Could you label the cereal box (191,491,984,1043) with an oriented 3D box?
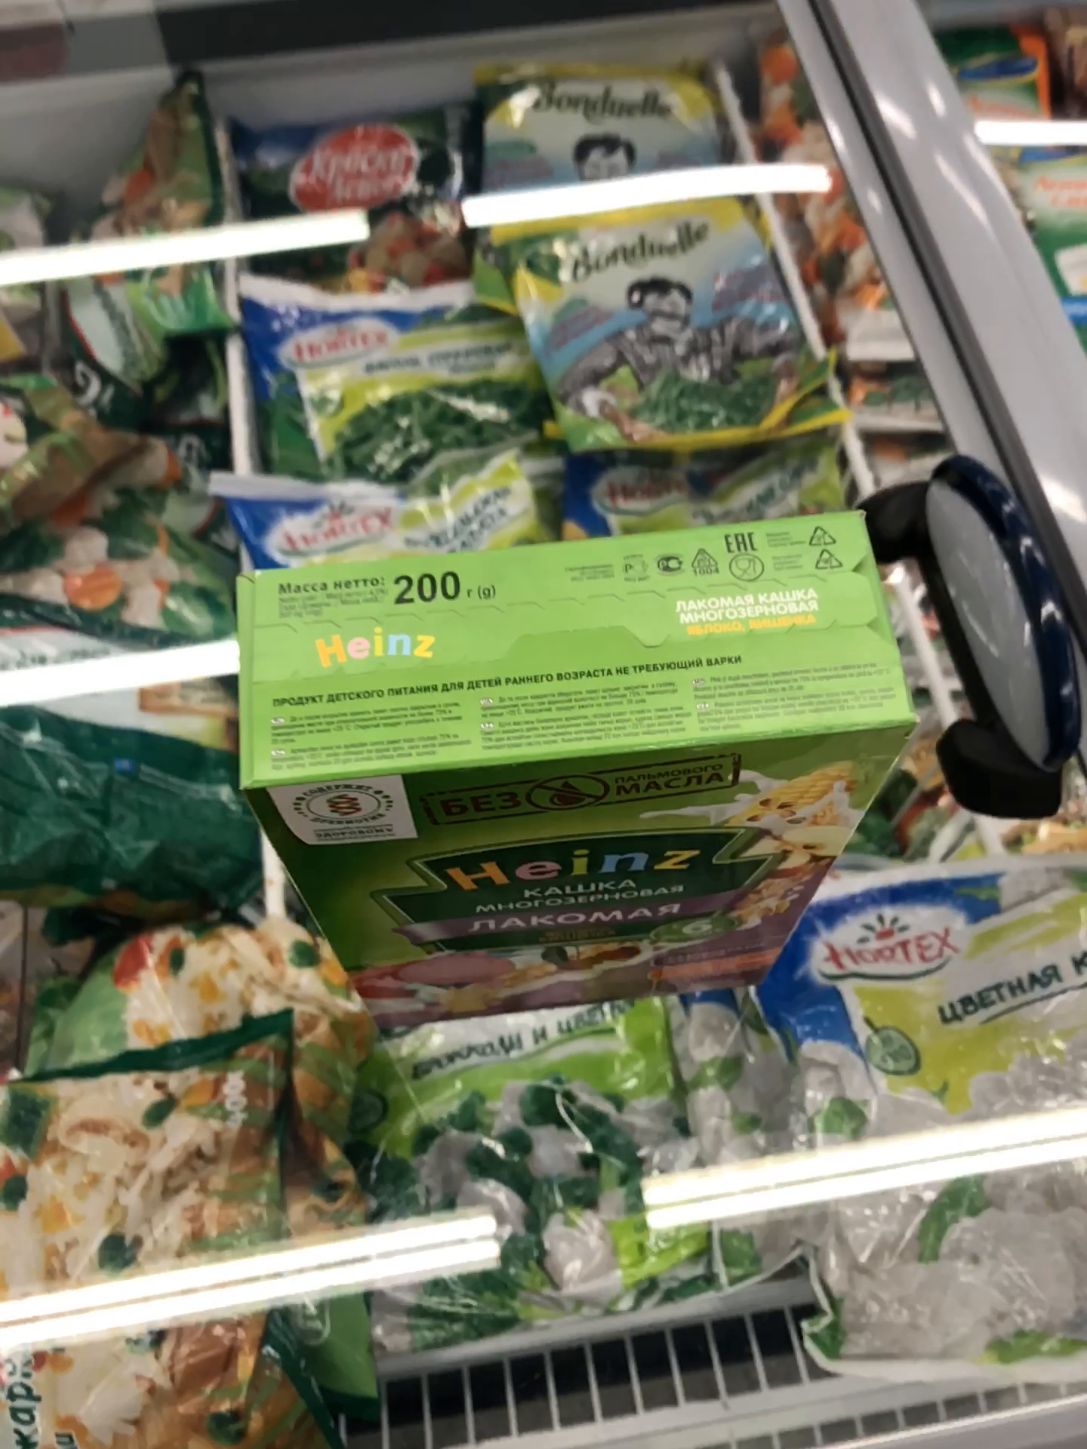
[{"bbox_3d":[0.007,0.028,0.312,0.140,0.199,0.050,-6,63,-2],"label":"cereal box"}]
